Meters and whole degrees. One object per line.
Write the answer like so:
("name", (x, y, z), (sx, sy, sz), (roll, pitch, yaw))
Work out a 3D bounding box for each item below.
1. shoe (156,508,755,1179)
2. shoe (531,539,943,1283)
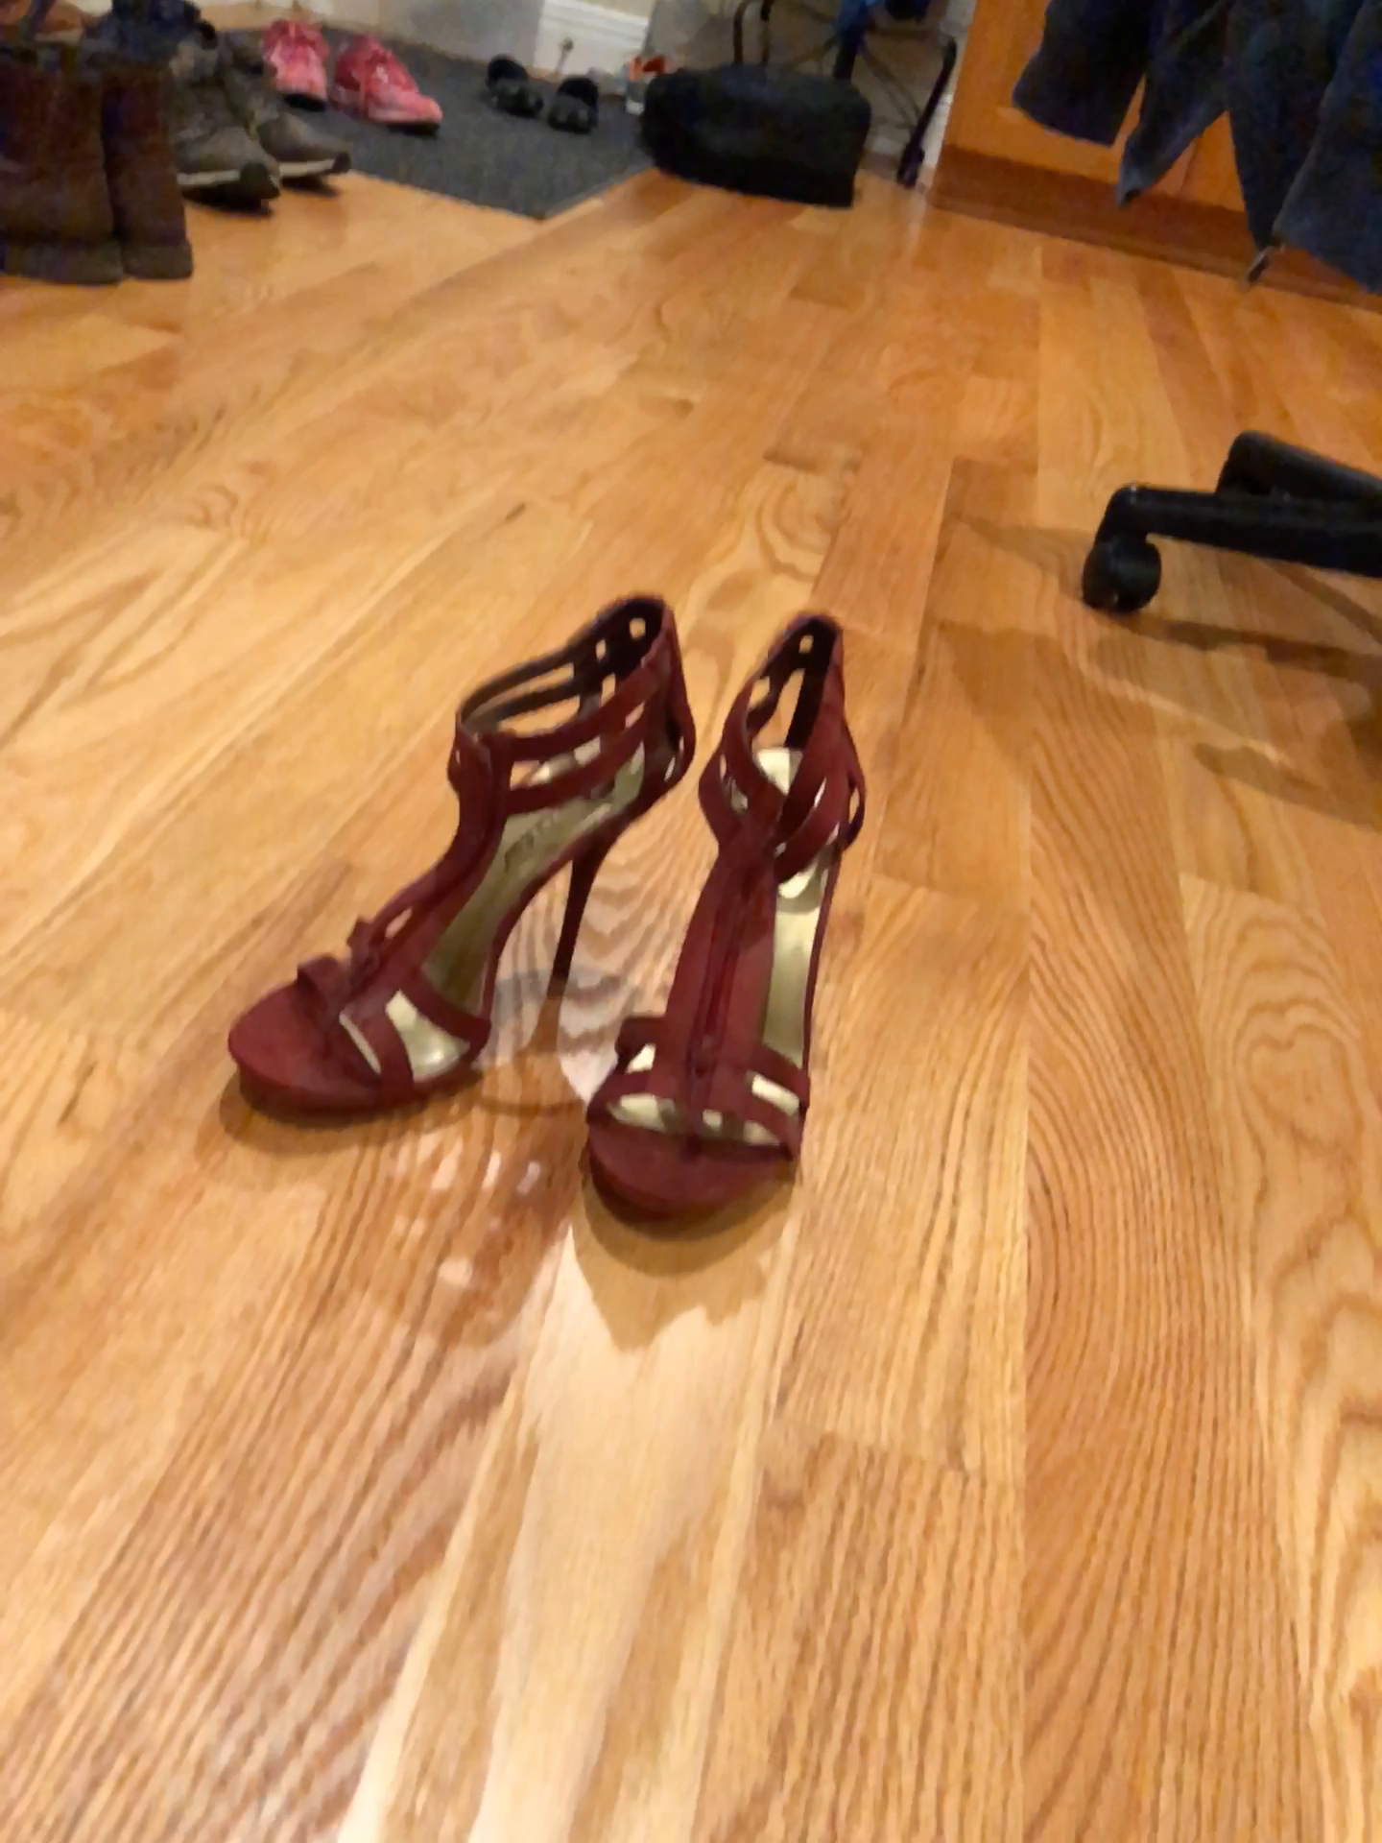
("shoe", (-0.085, -0.038, 0.559), (0.085, 0.175, 0.200), (31, 37, 25))
("shoe", (0.022, -0.014, 0.554), (0.085, 0.175, 0.208), (15, 33, 3))
